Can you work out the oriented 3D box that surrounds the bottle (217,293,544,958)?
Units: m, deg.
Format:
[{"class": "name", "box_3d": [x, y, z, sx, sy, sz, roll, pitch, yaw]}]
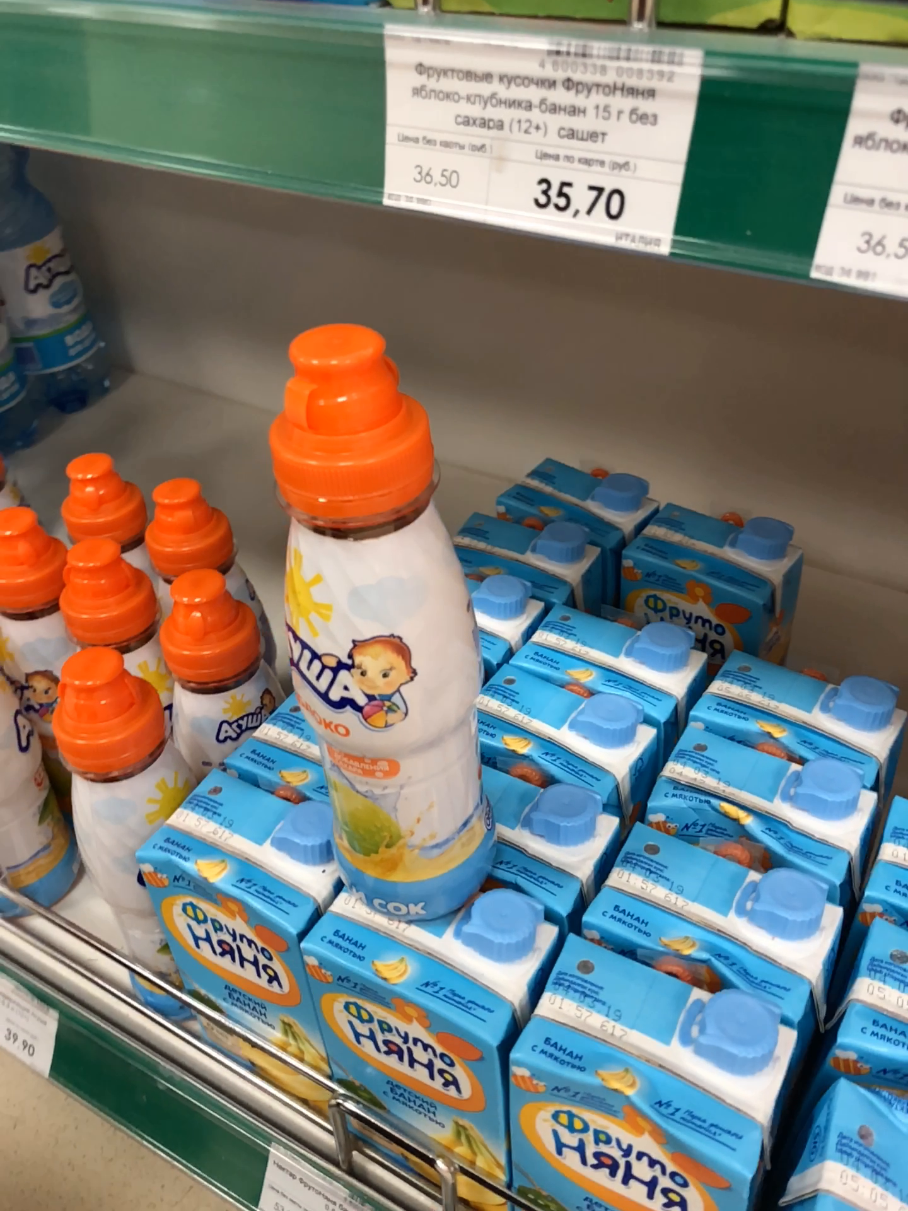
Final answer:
[{"class": "bottle", "box_3d": [-0.015, 0.016, 0.296, 0.056, 0.193, 0.053, -1, 39, 1]}]
